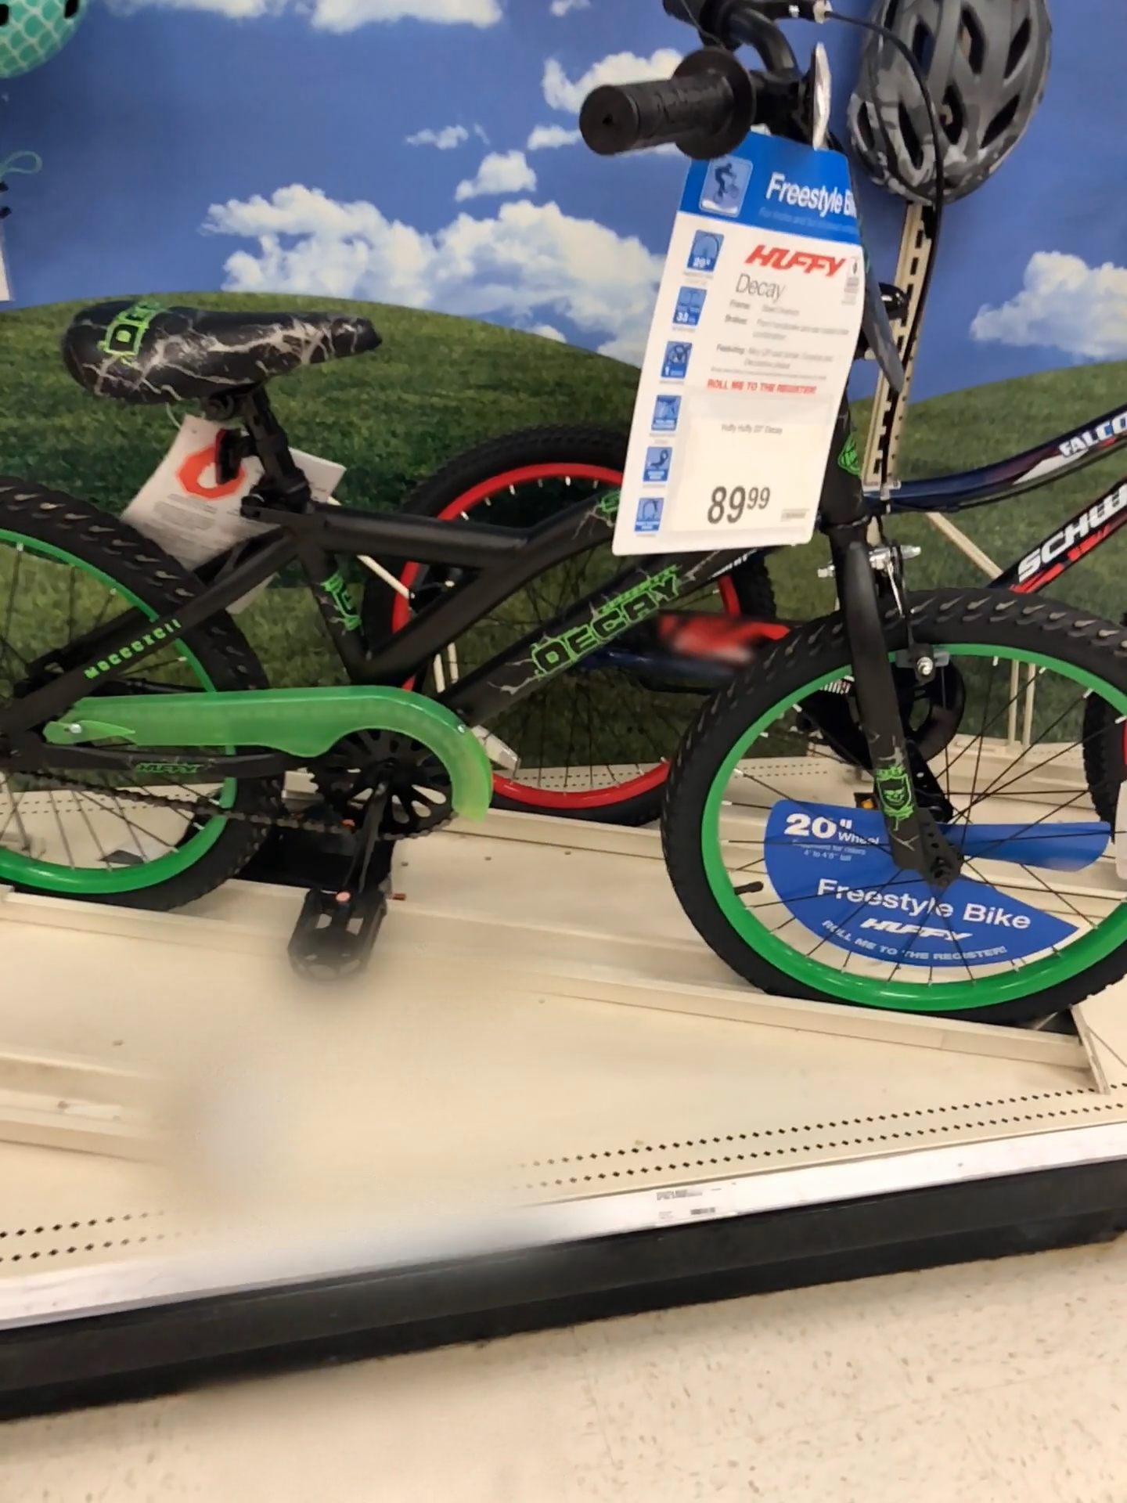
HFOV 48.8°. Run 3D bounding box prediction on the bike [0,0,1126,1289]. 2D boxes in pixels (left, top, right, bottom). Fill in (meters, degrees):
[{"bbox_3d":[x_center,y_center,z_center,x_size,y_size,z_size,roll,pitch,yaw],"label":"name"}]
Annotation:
[{"bbox_3d":[-0.055,-0.188,1.067,1.360,0.879,0.631,6,25,3],"label":"bike"}]
